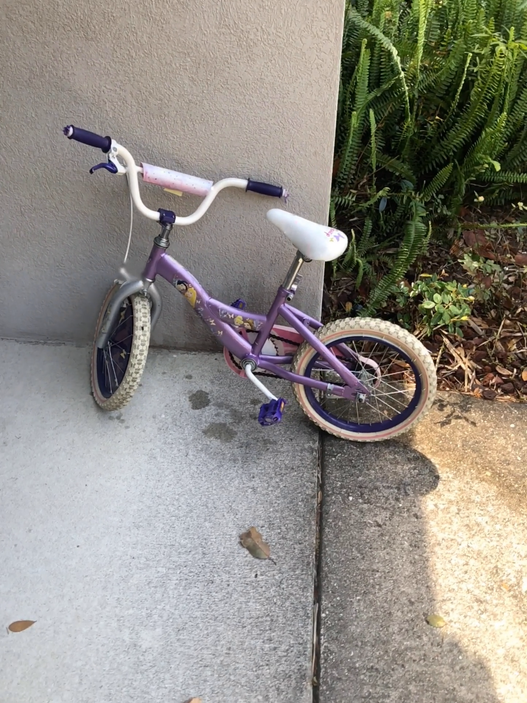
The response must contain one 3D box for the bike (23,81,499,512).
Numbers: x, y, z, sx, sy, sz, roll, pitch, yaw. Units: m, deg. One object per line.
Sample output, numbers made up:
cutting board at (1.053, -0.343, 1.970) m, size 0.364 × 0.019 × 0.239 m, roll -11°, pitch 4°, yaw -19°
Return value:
bike at (0.043, -0.156, 1.489) m, size 0.846 × 0.816 × 0.619 m, roll 8°, pitch 41°, yaw 10°
